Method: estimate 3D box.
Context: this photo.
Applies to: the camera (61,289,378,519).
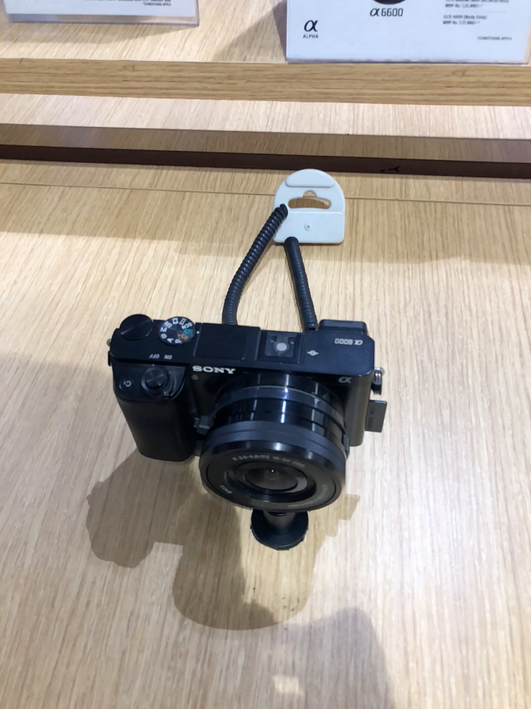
[{"bbox_3d":[-0.013,0.021,0.241,0.107,0.070,0.059,3,51,5],"label":"camera"}]
